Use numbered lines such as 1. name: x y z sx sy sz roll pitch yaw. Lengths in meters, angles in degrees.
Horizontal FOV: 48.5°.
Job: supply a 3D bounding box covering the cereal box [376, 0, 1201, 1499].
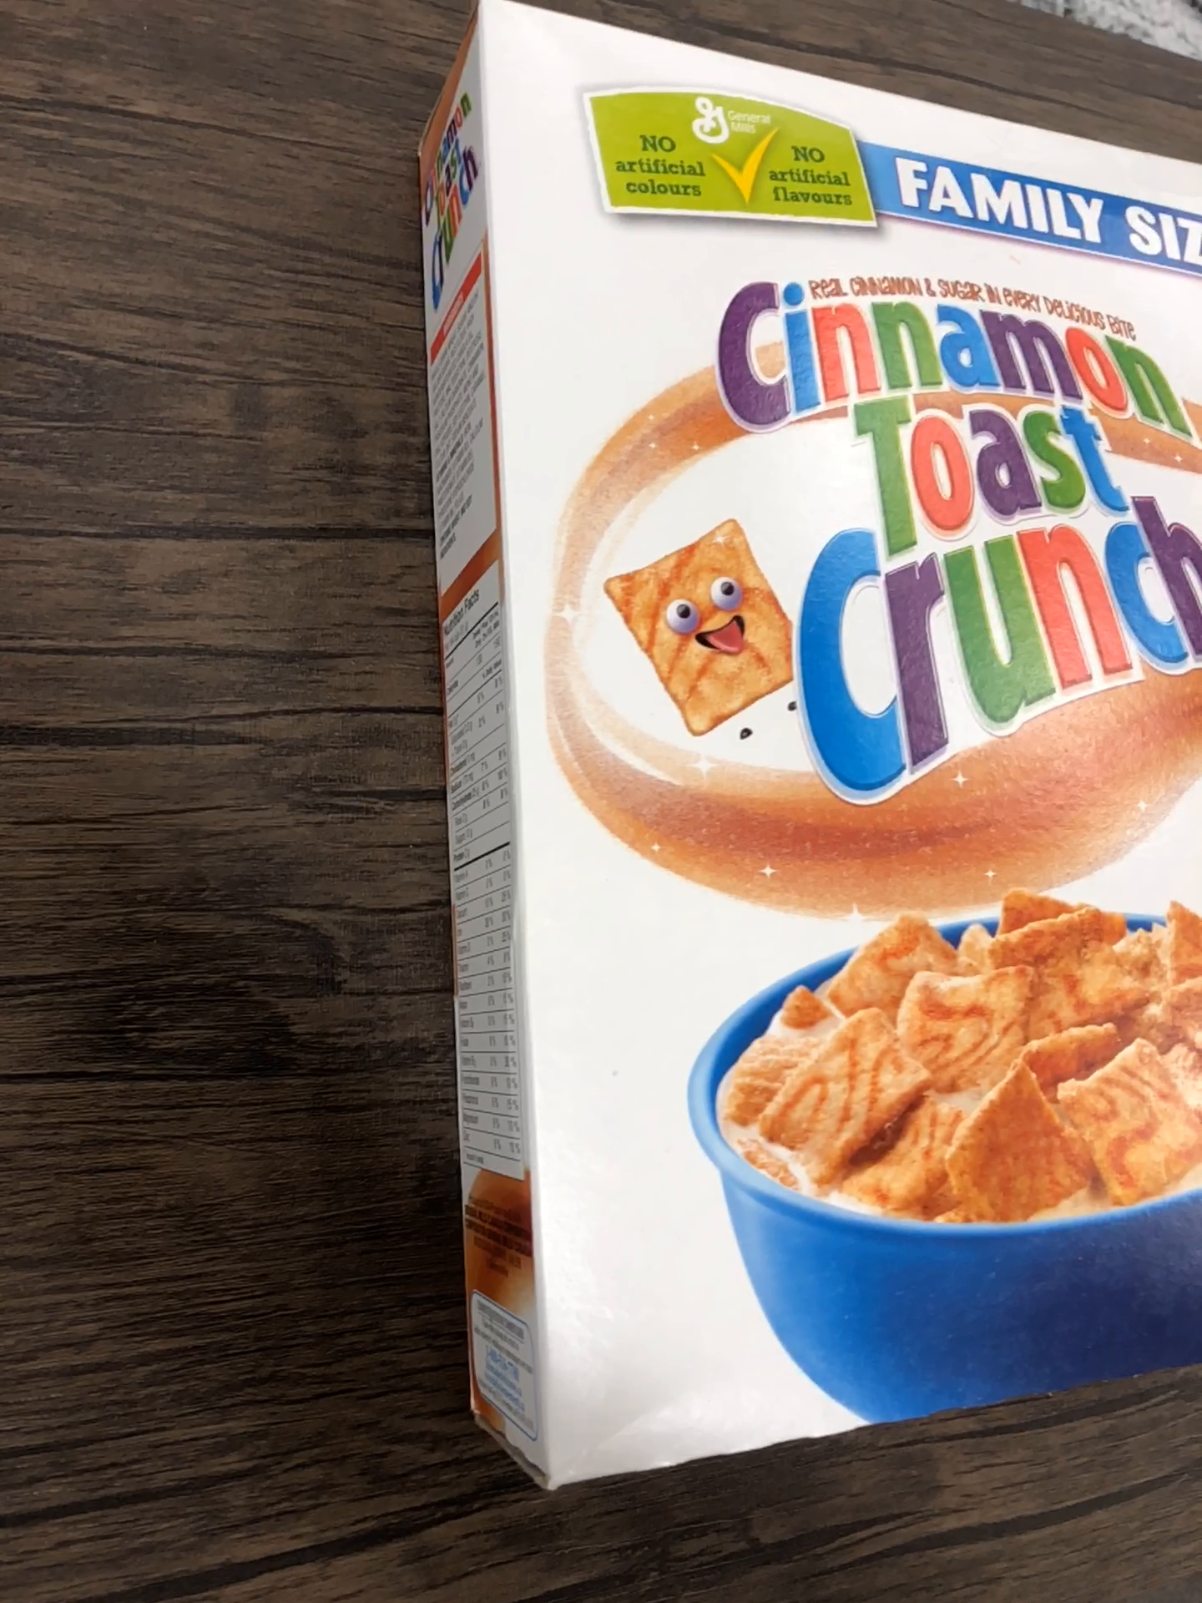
1. cereal box: 0.077 -0.039 0.362 0.251 0.070 0.360 1 79 -23
